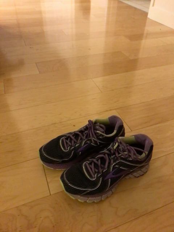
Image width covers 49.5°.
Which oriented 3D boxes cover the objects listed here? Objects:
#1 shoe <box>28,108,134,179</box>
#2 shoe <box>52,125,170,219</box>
[{"bbox_3d":[-0.015,0.068,0.545,0.271,0.069,0.111,-15,44,-20],"label":"shoe"},{"bbox_3d":[0.062,0.128,0.491,0.271,0.069,0.121,-18,45,-23],"label":"shoe"}]
